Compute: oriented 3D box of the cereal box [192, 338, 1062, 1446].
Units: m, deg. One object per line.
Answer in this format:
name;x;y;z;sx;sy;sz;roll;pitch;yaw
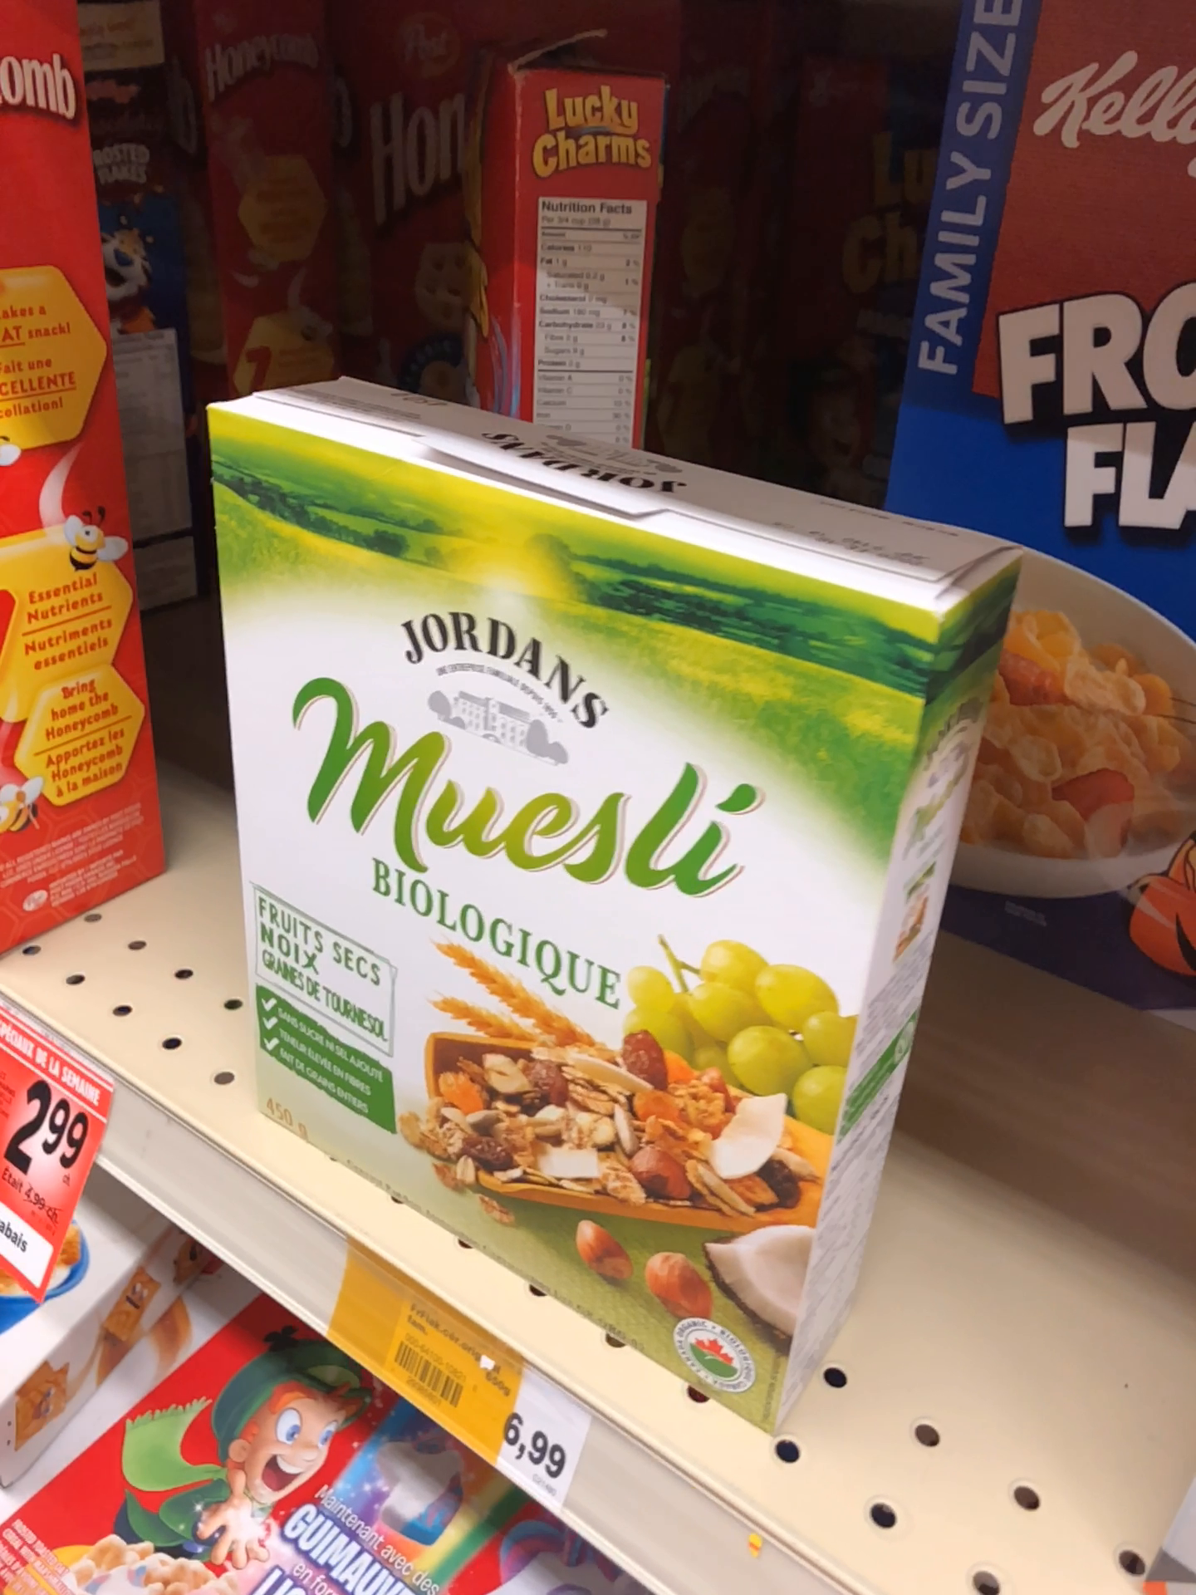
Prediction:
cereal box;-0.009;0.020;0.323;0.181;0.218;0.050;22;35;28
